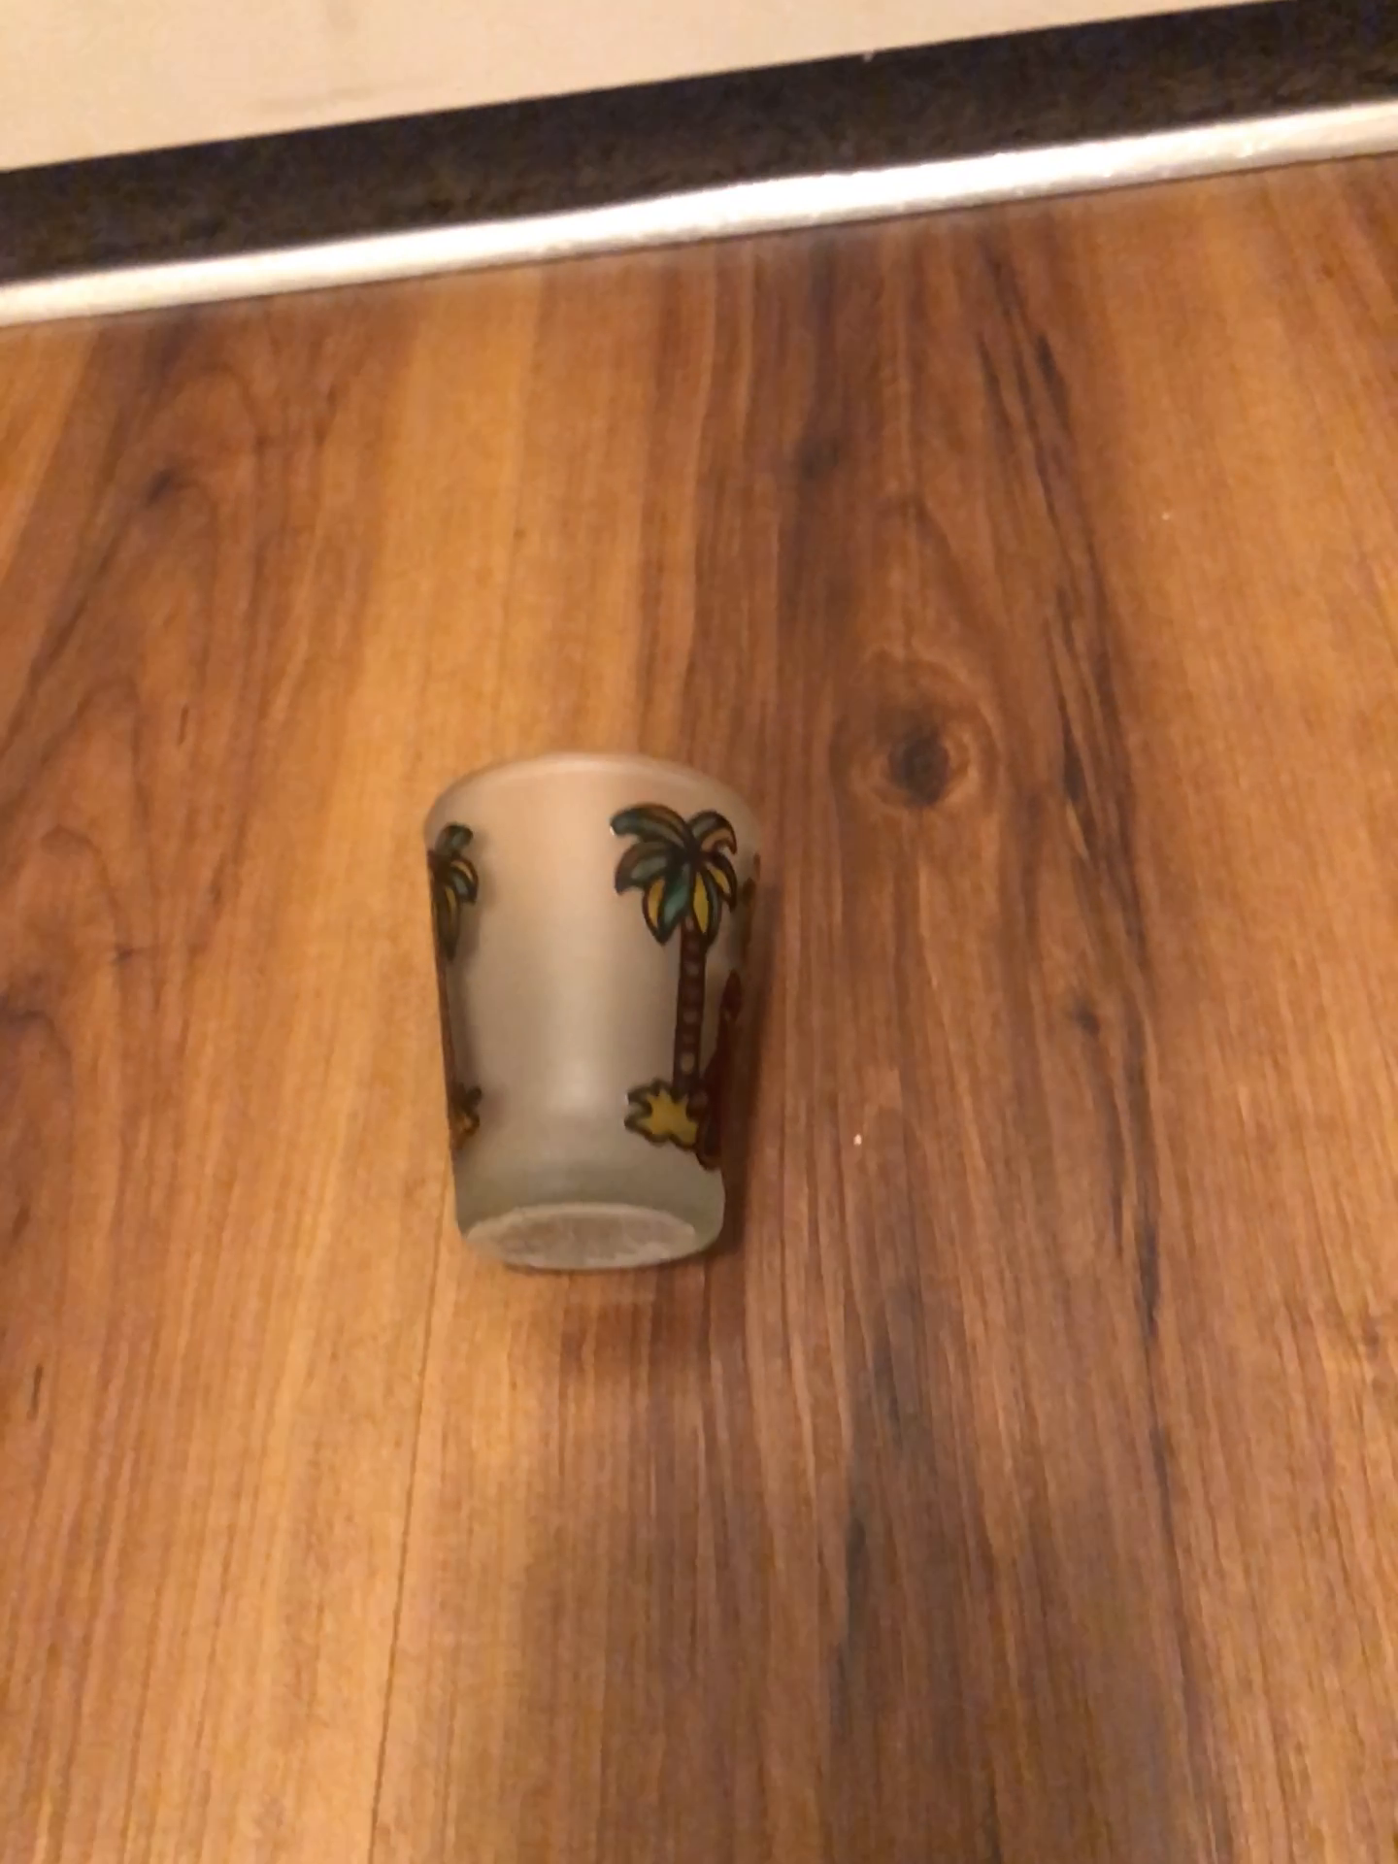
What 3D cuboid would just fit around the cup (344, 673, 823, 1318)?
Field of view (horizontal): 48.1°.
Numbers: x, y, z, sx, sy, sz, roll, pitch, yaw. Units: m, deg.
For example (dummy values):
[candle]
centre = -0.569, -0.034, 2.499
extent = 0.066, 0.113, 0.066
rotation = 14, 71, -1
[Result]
[cup]
centre = -0.012, 0.009, 0.210
extent = 0.050, 0.045, 0.070
rotation = -5, 57, 7
